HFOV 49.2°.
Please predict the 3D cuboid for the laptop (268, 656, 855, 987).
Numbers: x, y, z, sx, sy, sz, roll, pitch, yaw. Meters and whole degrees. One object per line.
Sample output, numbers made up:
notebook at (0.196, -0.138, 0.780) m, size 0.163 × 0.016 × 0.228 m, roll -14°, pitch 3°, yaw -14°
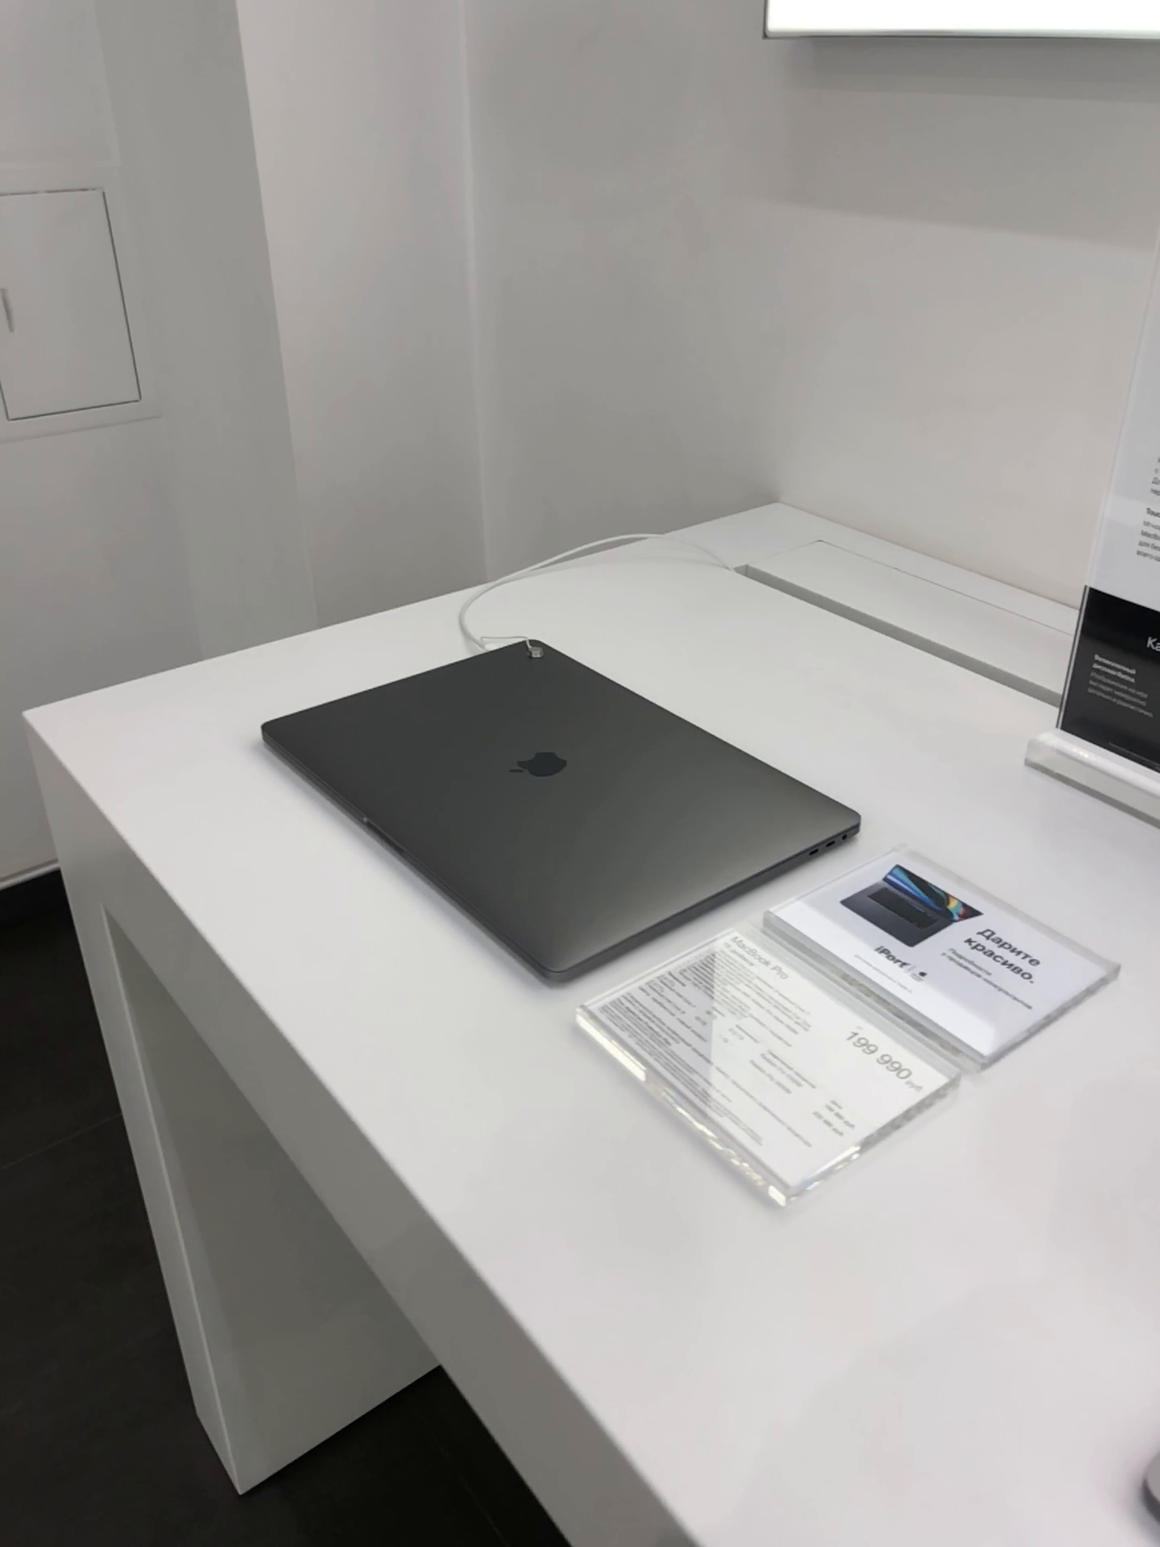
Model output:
laptop at (-0.026, 0.009, 0.845) m, size 0.231 × 0.003 × 0.345 m, roll -22°, pitch 35°, yaw -31°
